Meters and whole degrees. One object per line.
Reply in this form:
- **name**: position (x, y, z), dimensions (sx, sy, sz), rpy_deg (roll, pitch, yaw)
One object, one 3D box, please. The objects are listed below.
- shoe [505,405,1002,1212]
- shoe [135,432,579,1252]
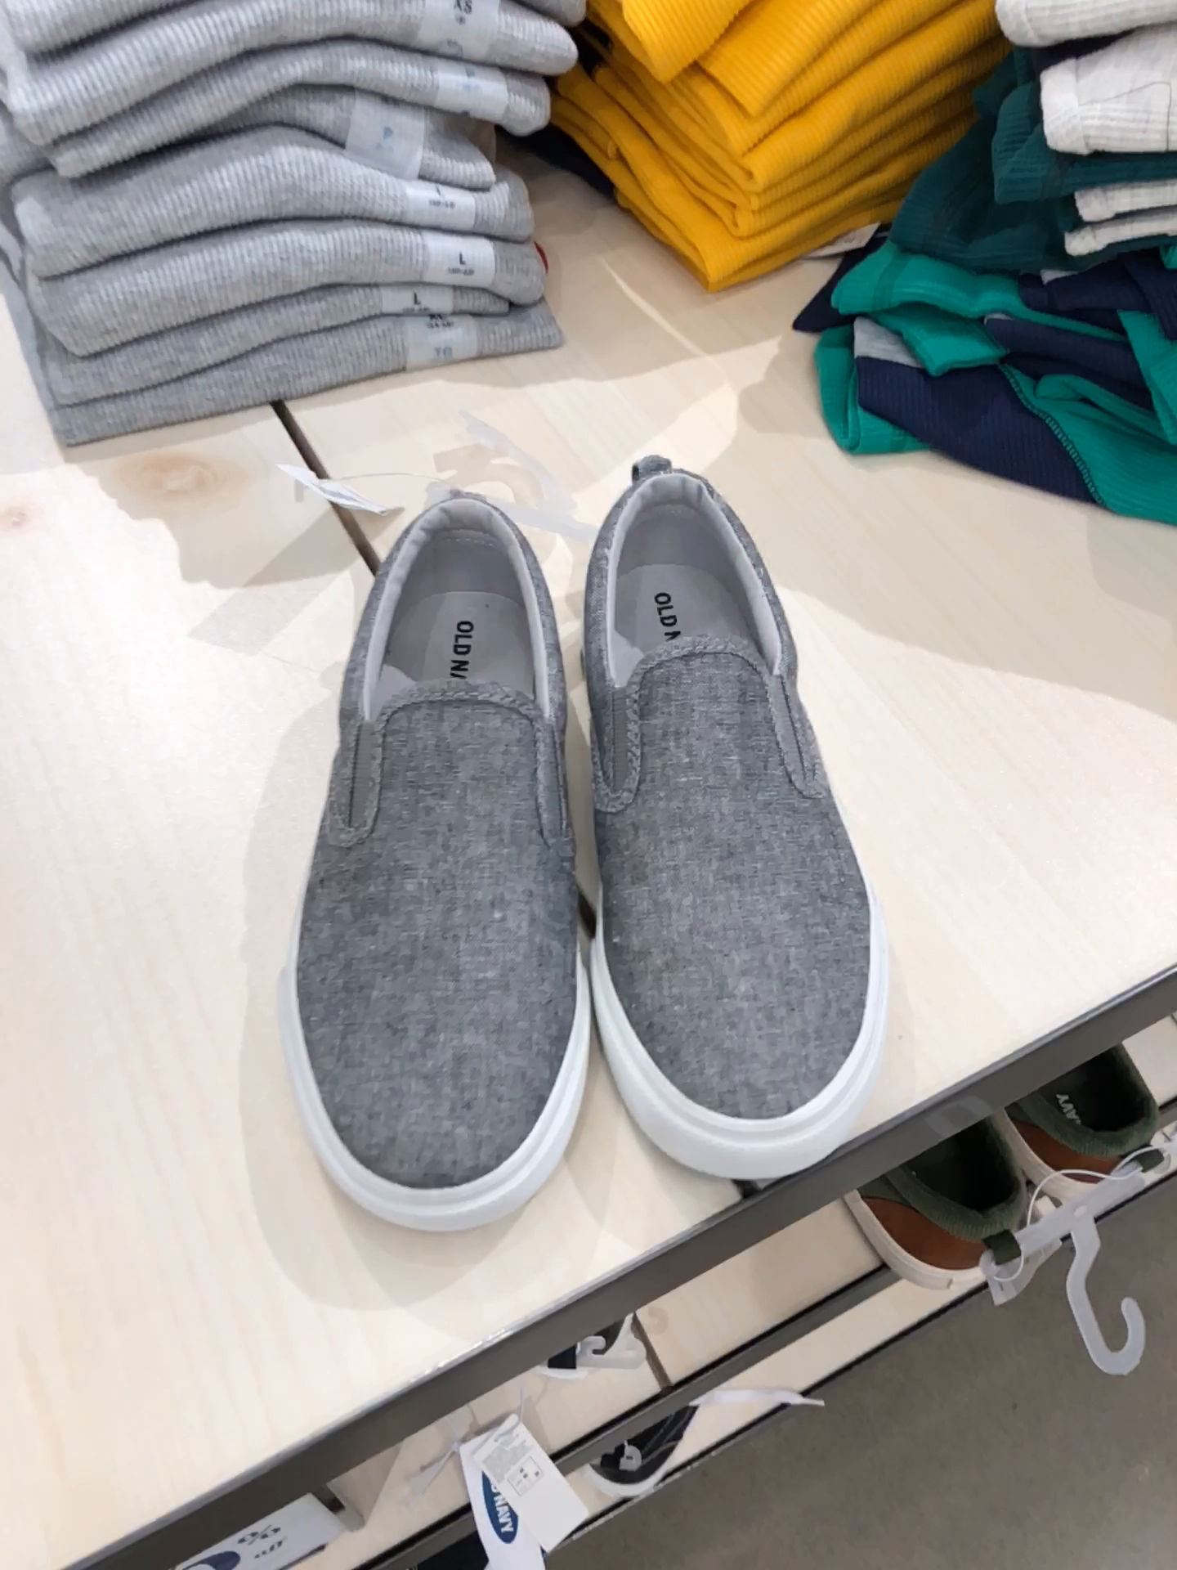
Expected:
- **shoe**: position (0.032, -0.001, 0.383), dimensions (0.090, 0.100, 0.211), rpy_deg (-5, 54, -5)
- **shoe**: position (-0.050, 0.009, 0.368), dimensions (0.090, 0.100, 0.211), rpy_deg (0, 54, -1)
